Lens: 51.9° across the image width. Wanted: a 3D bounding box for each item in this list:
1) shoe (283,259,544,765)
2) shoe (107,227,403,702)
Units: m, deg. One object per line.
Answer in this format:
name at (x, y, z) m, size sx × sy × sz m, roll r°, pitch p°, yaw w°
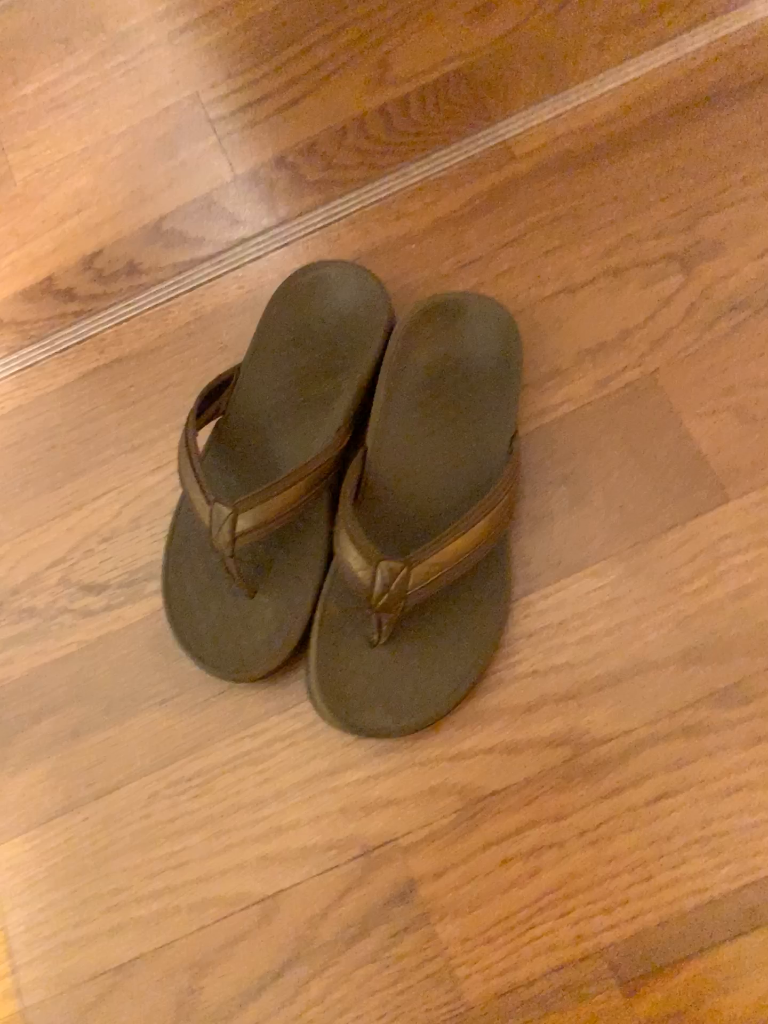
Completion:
shoe at (0.023, -0.005, 0.412) m, size 0.099 × 0.061 × 0.247 m, roll 5°, pitch 76°, yaw 12°
shoe at (-0.065, -0.031, 0.440) m, size 0.091 × 0.049 × 0.251 m, roll 10°, pitch 77°, yaw 13°
